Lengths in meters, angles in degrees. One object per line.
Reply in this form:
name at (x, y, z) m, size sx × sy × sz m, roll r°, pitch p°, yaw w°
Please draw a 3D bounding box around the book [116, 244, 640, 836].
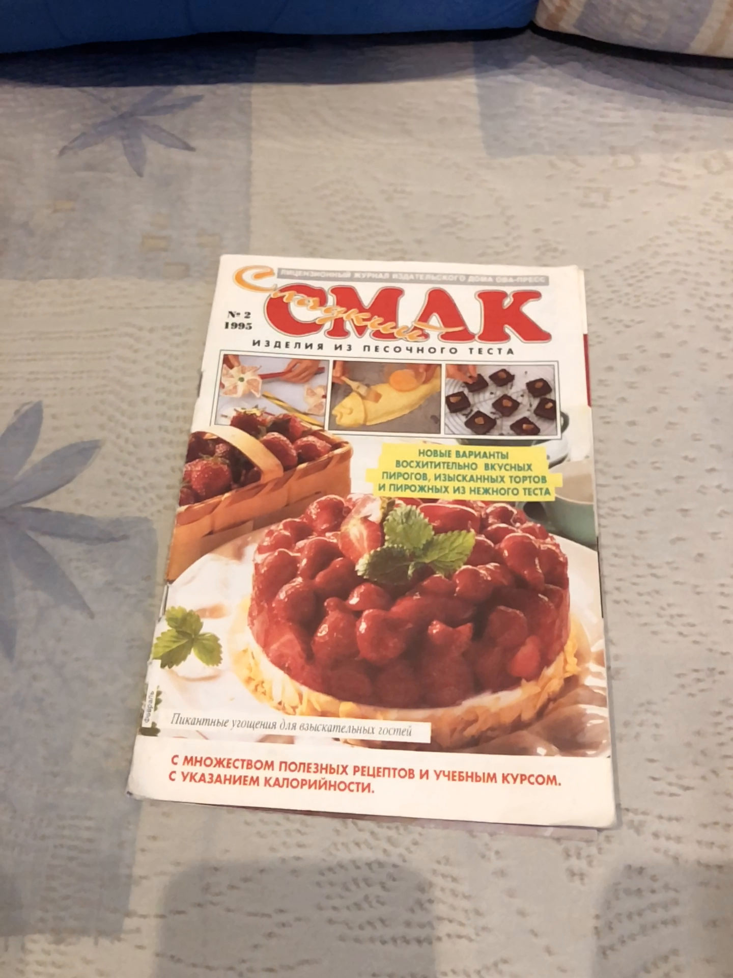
book at (0.010, 0.005, 0.331) m, size 0.177 × 0.020 × 0.241 m, roll 2°, pitch 67°, yaw 4°
